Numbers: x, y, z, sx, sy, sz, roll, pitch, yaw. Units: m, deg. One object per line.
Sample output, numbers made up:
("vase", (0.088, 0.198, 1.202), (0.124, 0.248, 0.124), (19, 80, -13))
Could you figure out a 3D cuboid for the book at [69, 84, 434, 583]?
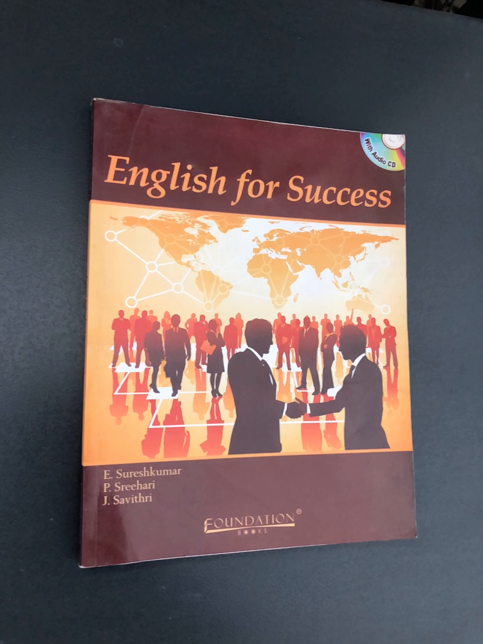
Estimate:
("book", (0.008, 0.002, 0.296), (0.190, 0.030, 0.240), (1, 83, -15))
